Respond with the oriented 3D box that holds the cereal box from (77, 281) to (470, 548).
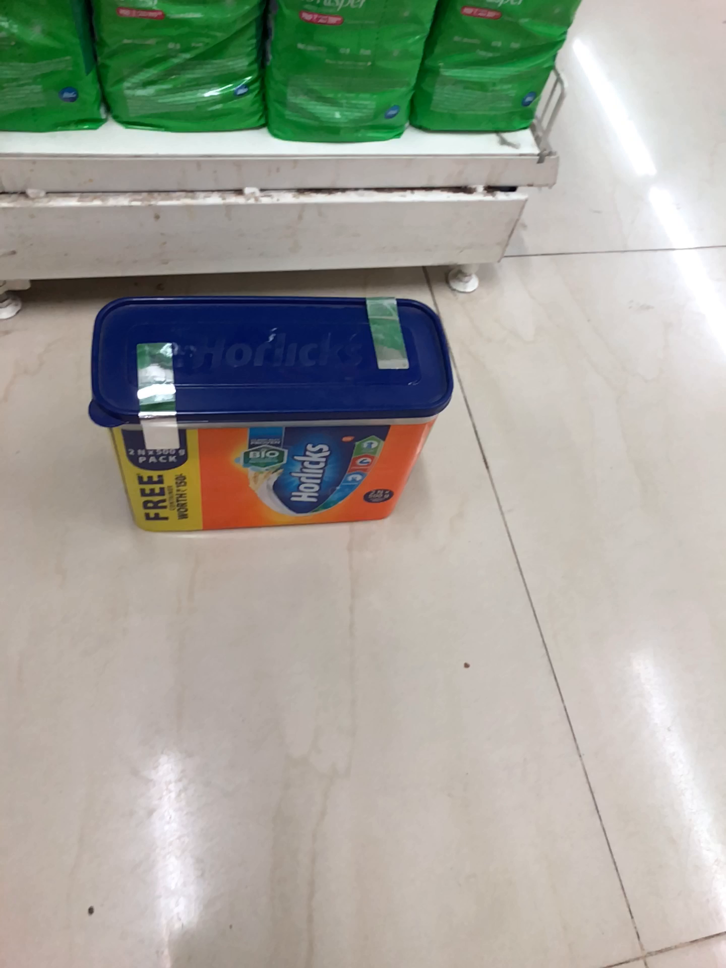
[{"bbox_3d":[-0.063,-0.043,0.541,0.220,0.159,0.100,-3,61,-12],"label":"cereal box"}]
